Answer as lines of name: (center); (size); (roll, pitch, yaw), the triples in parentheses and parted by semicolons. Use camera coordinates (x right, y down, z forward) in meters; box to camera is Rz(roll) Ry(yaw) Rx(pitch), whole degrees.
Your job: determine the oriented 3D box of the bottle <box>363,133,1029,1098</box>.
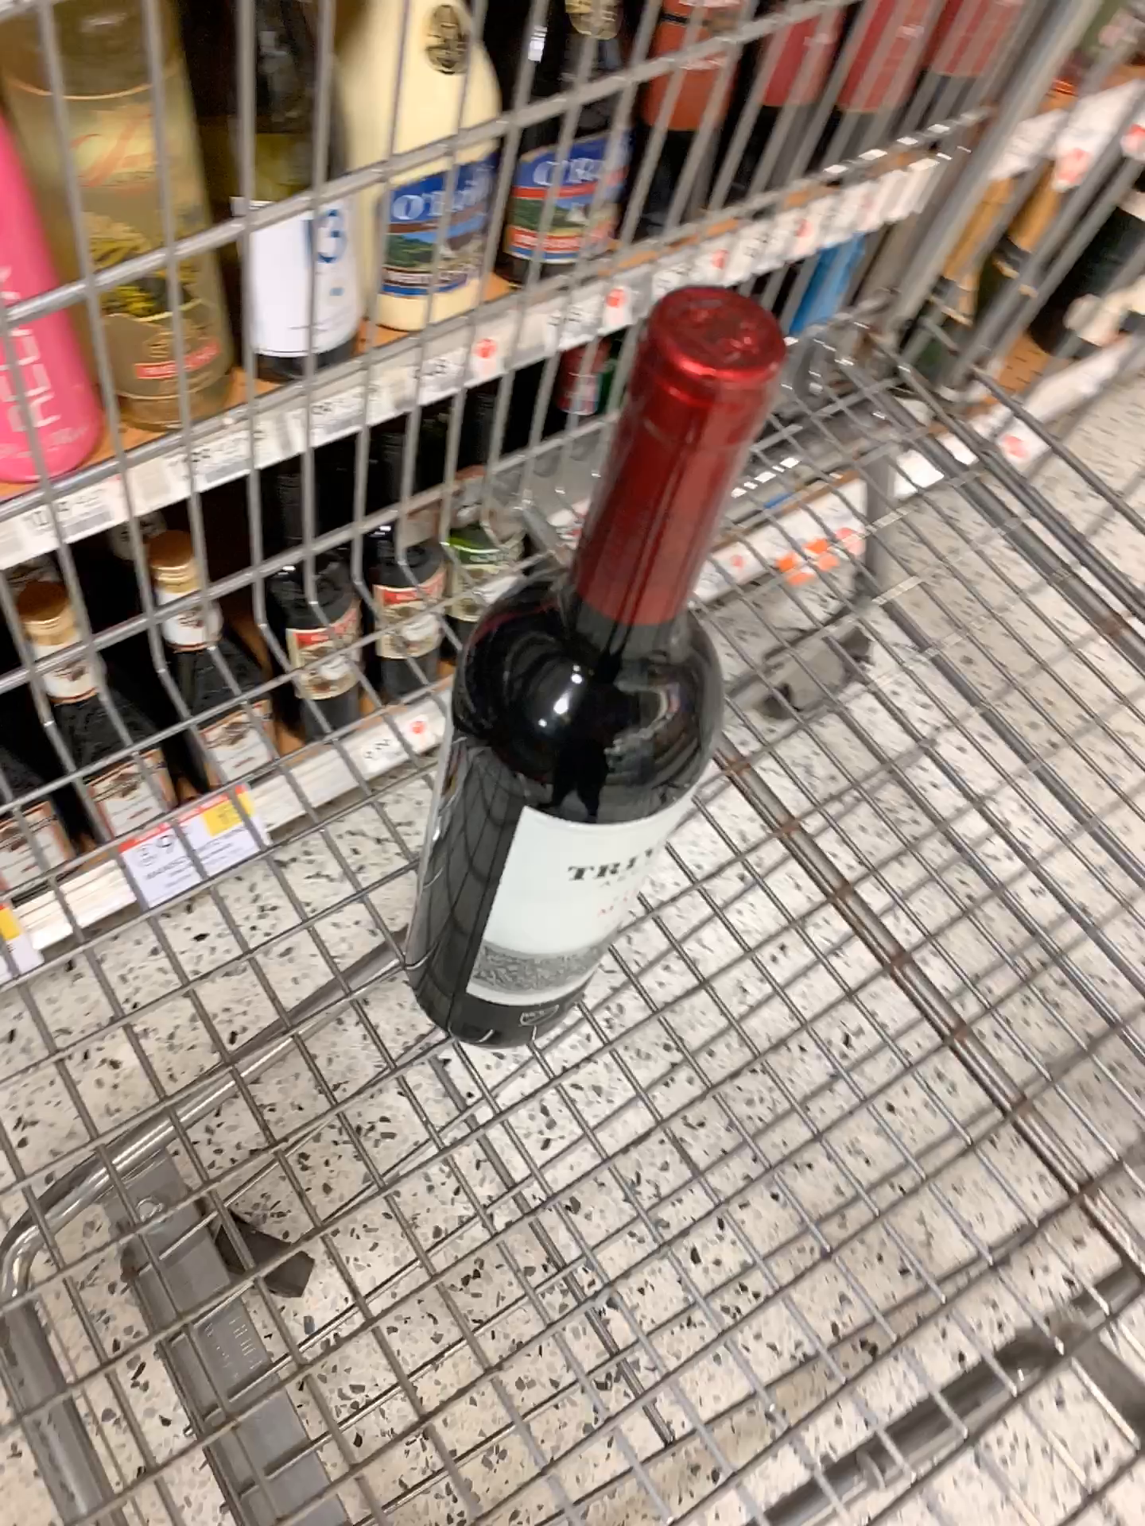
bottle: (0.005, -0.007, 0.343); (0.080, 0.298, 0.091); (43, 59, 16)
